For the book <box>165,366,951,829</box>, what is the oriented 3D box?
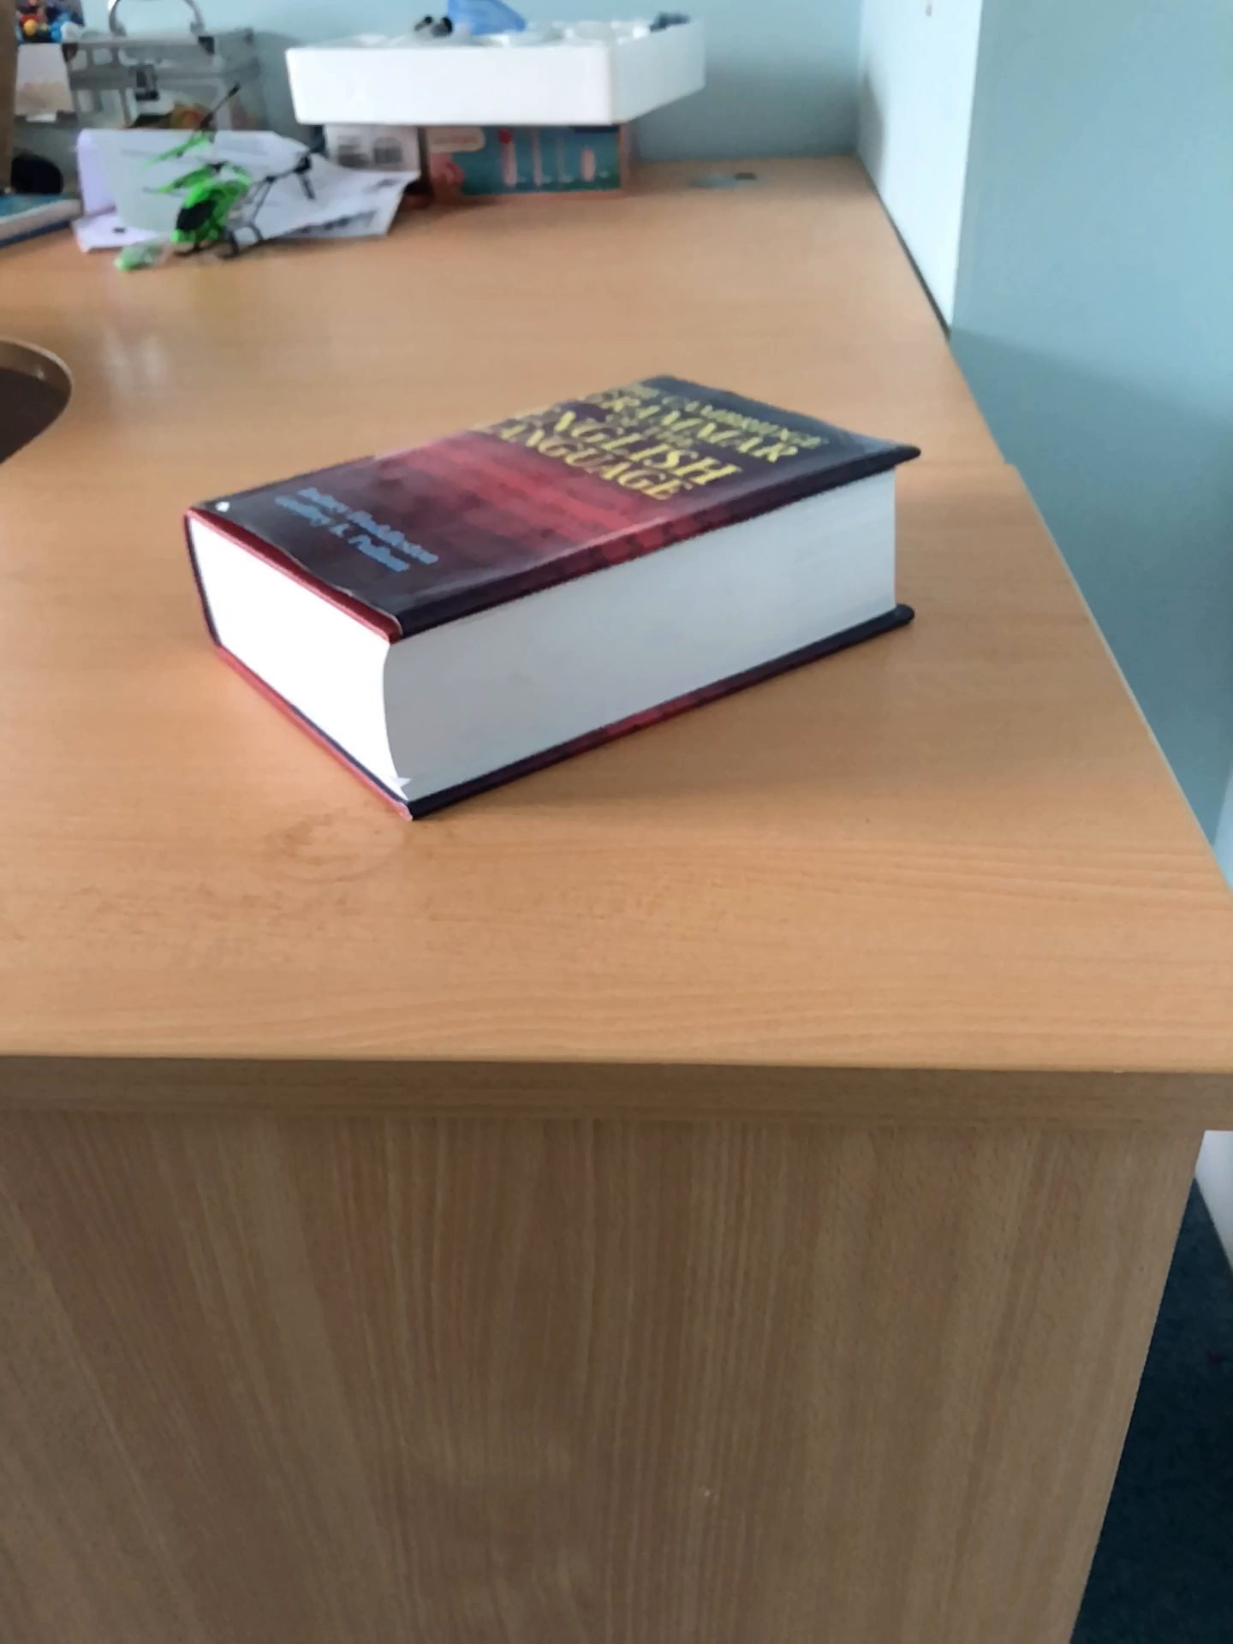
[{"bbox_3d":[-0.024,-0.114,0.578,0.261,0.070,0.195,-24,37,-27],"label":"book"}]
